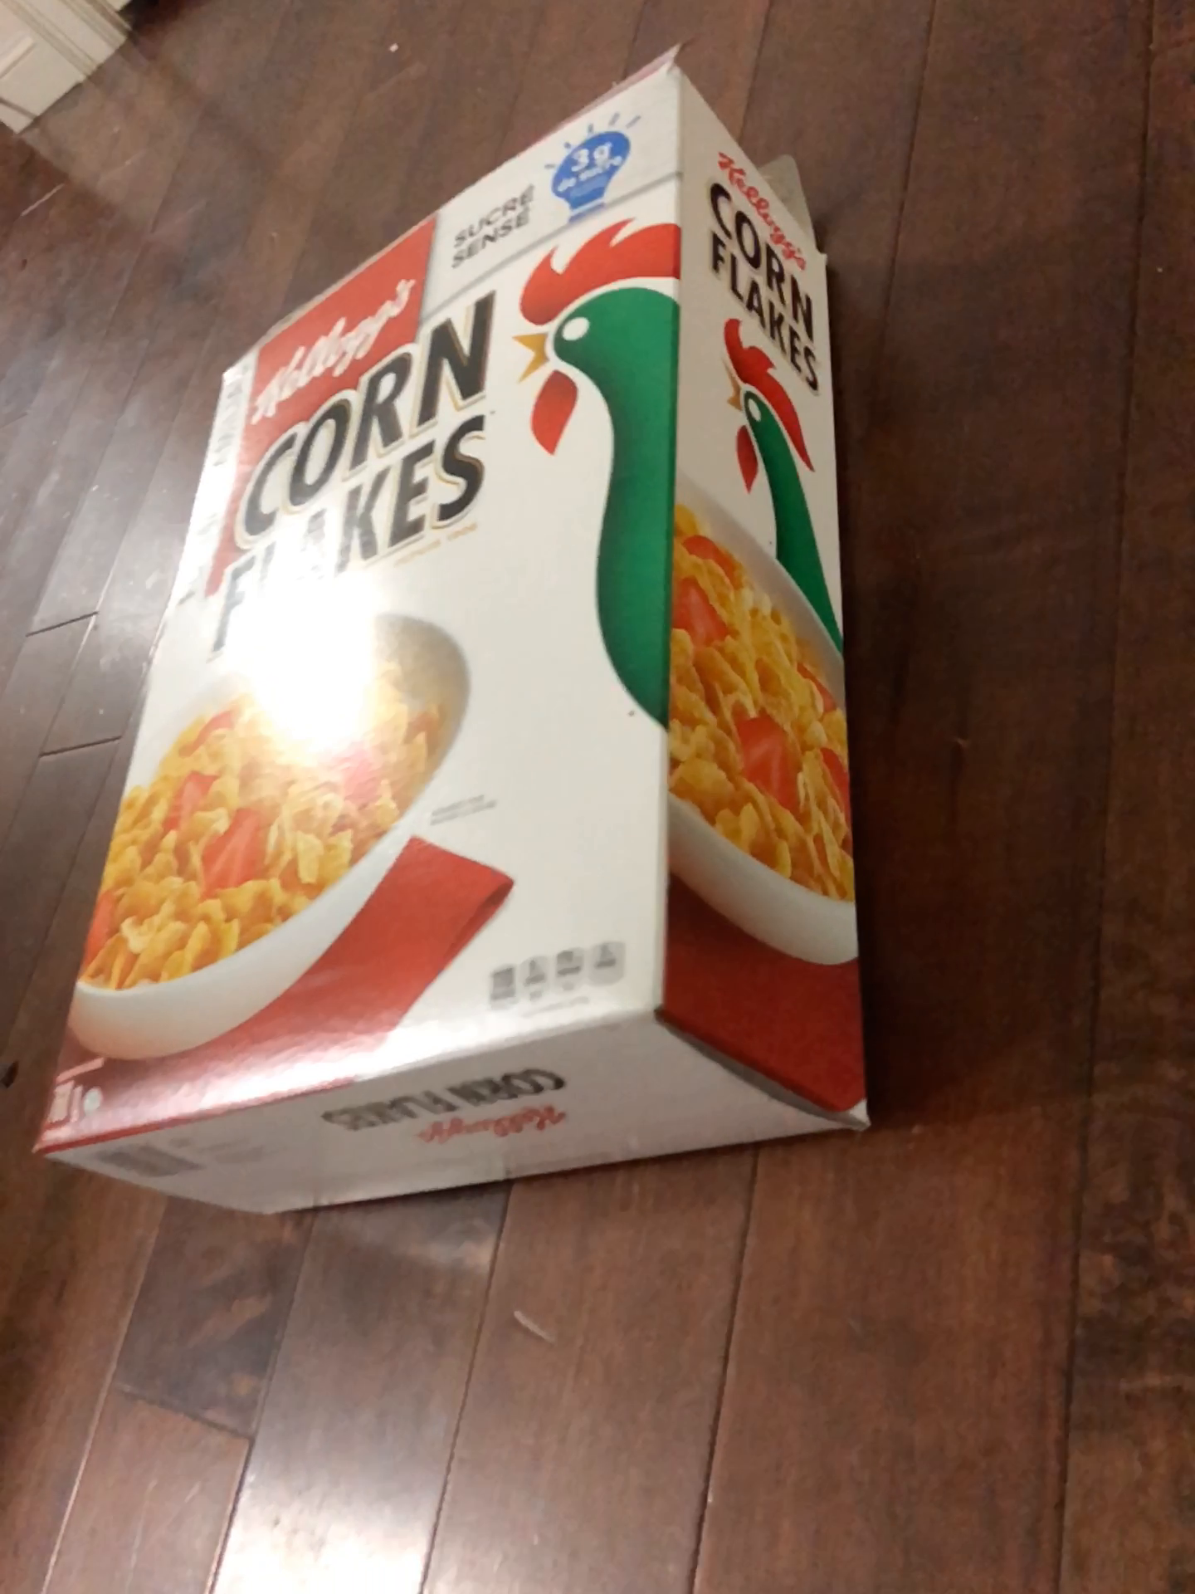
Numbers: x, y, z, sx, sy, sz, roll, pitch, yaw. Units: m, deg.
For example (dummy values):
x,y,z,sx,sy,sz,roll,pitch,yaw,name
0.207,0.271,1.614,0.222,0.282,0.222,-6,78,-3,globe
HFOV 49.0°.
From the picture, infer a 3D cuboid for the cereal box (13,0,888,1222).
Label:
x,y,z,sx,sy,sz,roll,pitch,yaw,name
-0.050,-0.064,0.469,0.261,0.090,0.380,-19,55,33,cereal box
